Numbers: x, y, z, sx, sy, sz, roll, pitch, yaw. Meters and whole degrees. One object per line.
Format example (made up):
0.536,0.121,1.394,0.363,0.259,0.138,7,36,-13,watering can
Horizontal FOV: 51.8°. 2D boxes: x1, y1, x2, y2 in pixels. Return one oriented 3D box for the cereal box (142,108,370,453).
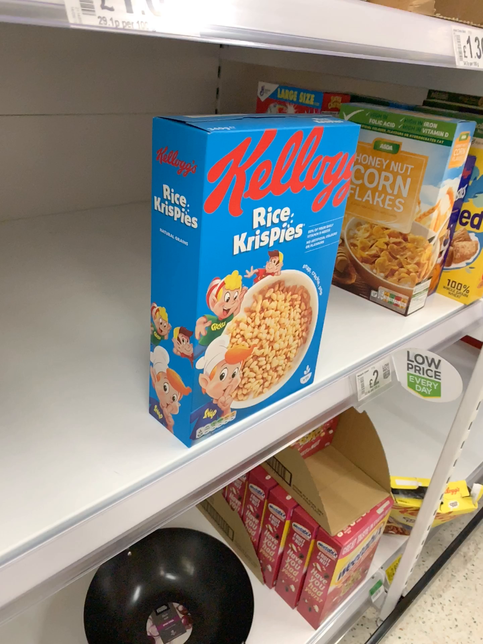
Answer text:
0.007,-0.045,0.492,0.201,0.297,0.070,-19,37,-39,cereal box
